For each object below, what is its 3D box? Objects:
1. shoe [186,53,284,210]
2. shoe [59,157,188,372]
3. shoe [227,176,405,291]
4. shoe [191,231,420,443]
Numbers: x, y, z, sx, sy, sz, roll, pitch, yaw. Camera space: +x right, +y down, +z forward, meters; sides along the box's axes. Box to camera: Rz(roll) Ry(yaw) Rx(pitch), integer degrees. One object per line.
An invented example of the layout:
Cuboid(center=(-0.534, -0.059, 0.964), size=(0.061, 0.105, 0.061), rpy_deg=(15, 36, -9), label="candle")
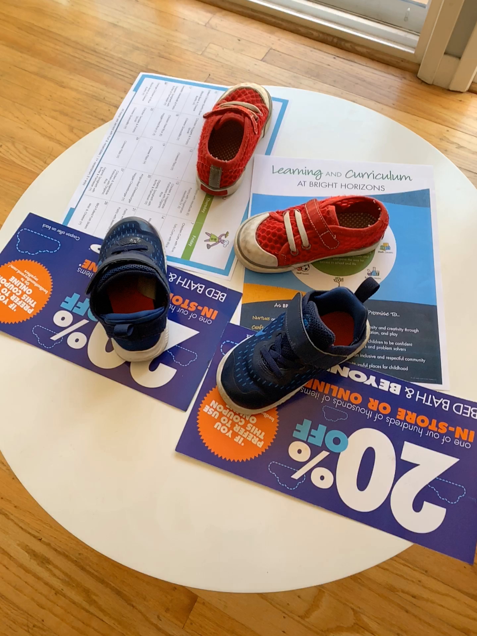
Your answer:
Cuboid(center=(0.000, -0.218, 0.569), size=(0.070, 0.070, 0.160), rpy_deg=(12, 67, 8), label="shoe")
Cuboid(center=(-0.101, -0.045, 0.436), size=(0.080, 0.100, 0.150), rpy_deg=(-10, 66, -2), label="shoe")
Cuboid(center=(0.075, -0.086, 0.504), size=(0.160, 0.070, 0.060), rpy_deg=(-11, 66, -3), label="shoe")
Cuboid(center=(0.054, 0.020, 0.422), size=(0.160, 0.100, 0.080), rpy_deg=(-33, 69, -12), label="shoe")
